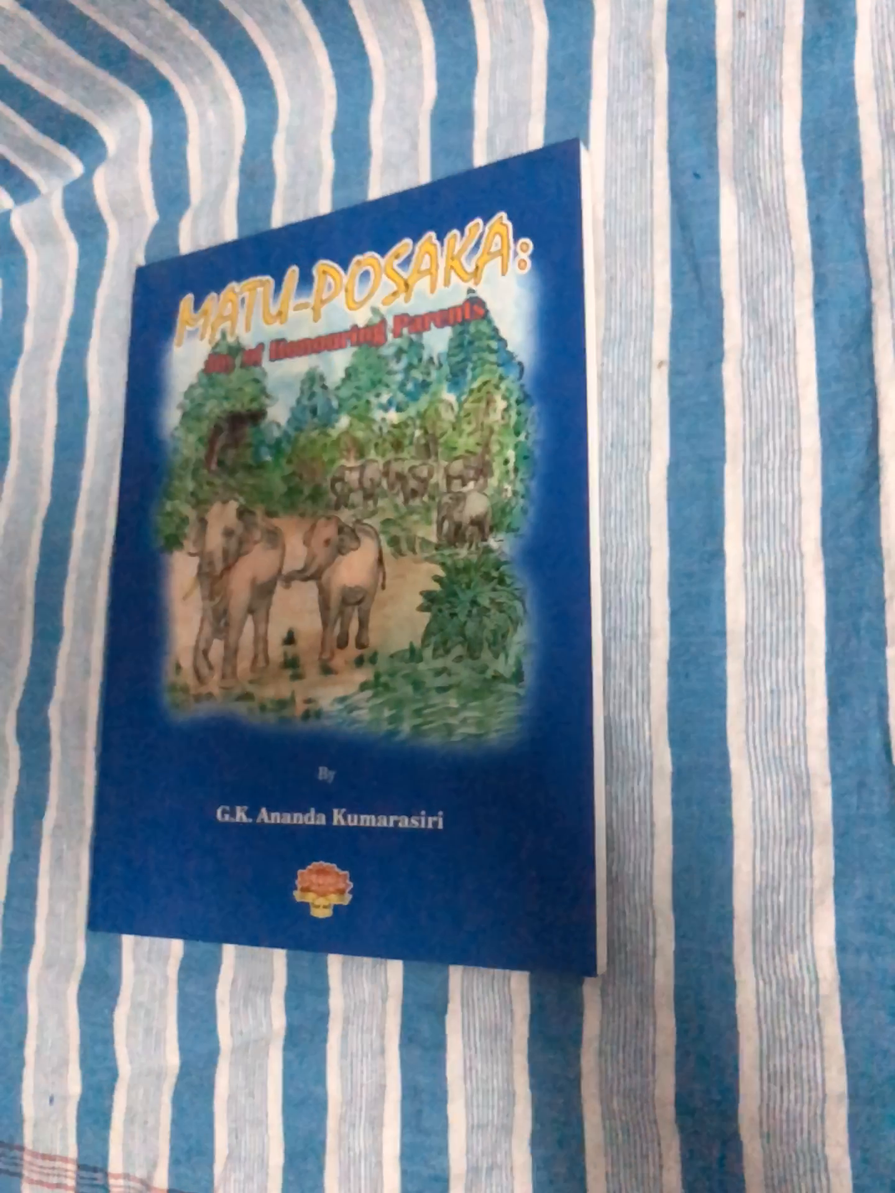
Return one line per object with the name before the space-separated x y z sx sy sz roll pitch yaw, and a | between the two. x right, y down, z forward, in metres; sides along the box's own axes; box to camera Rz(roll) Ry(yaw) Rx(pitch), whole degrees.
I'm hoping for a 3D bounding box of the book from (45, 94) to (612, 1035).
book | -0.038 -0.010 0.287 0.170 0.020 0.230 -4 79 28
